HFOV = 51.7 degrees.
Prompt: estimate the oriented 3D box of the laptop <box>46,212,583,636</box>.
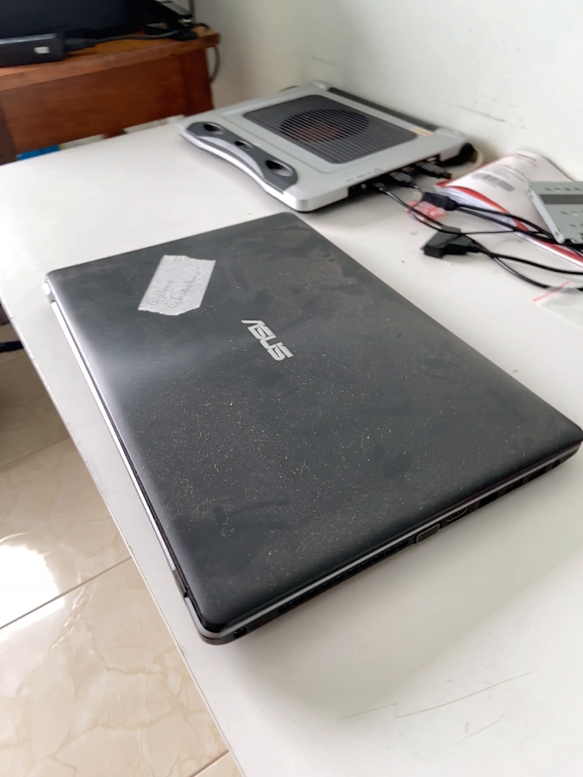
[{"bbox_3d":[-0.017,-0.033,0.456,0.251,0.007,0.386,-21,44,-20],"label":"laptop"}]
